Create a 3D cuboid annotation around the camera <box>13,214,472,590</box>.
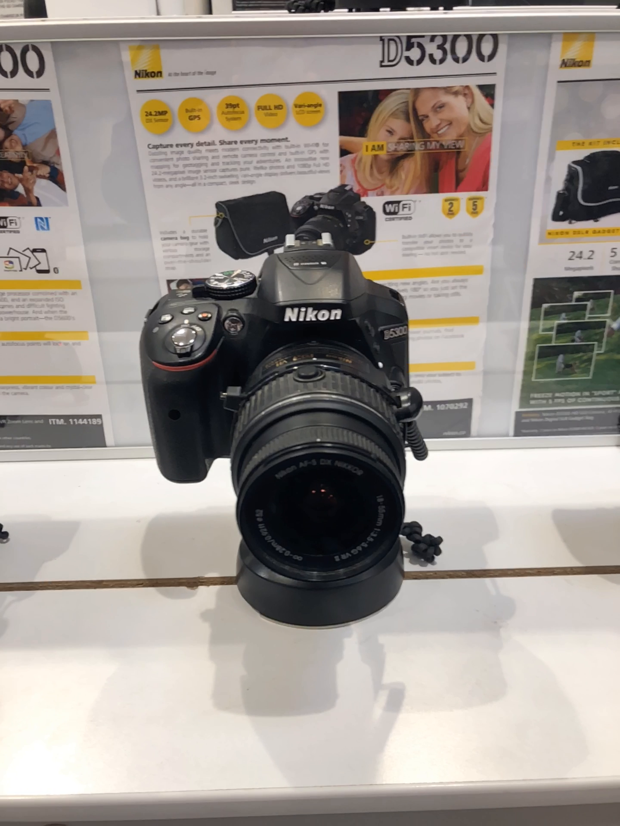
[{"bbox_3d":[-0.021,-0.018,0.282,0.130,0.089,0.151,-2,29,-2],"label":"camera"}]
